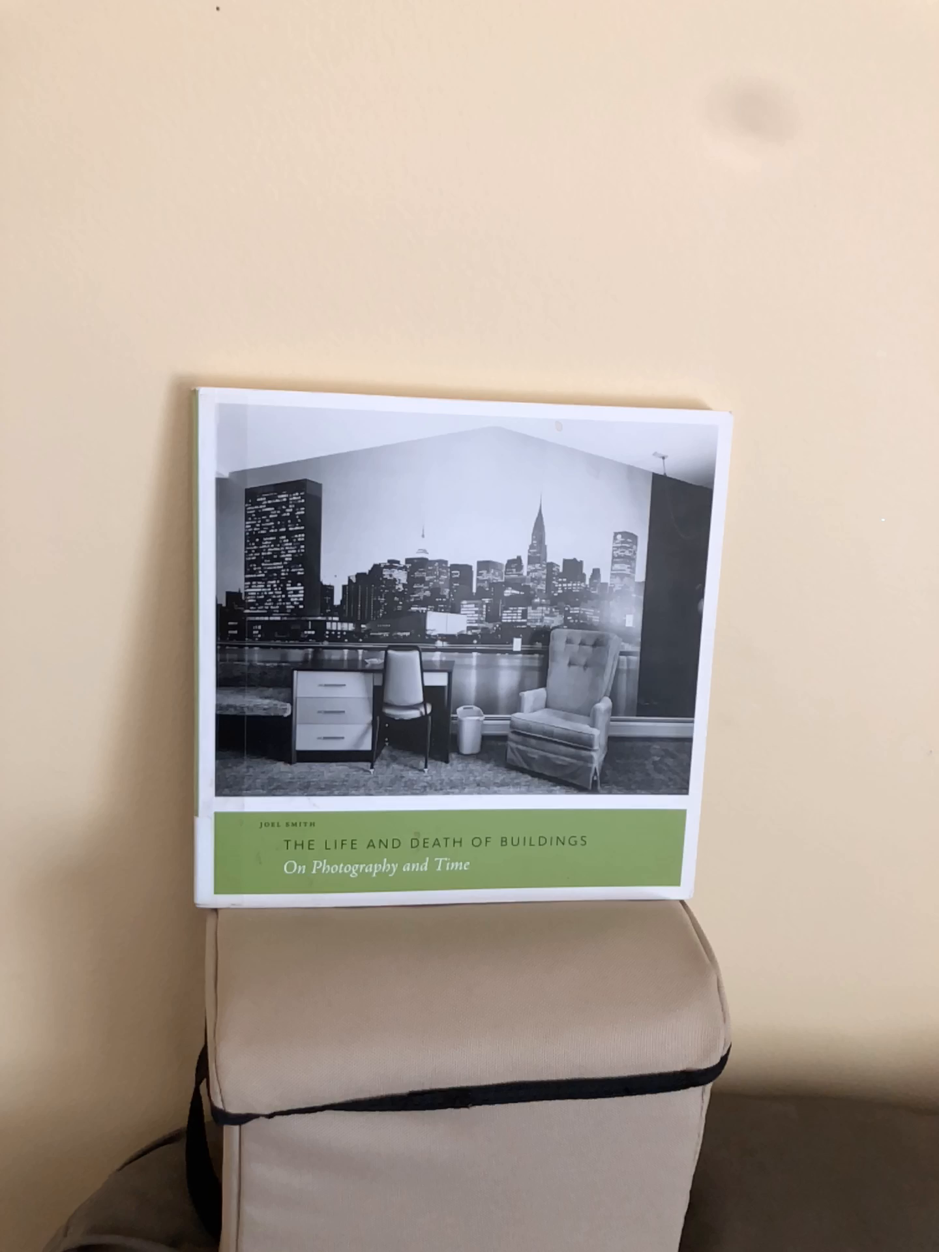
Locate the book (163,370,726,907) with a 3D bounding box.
[{"bbox_3d":[-0.010,0.009,0.421,0.216,0.204,0.020,1,8,-12],"label":"book"}]
